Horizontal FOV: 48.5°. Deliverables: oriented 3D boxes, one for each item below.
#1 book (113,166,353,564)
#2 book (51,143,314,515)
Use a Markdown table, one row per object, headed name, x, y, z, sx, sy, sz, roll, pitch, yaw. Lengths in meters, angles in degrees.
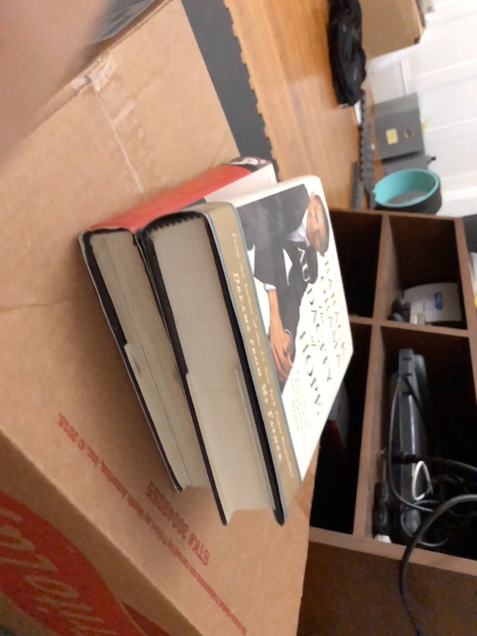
| name | x | y | z | sx | sy | sz | roll | pitch | yaw |
| --- | --- | --- | --- | --- | --- | --- | --- | --- | --- |
| book | 0.025 | 0.001 | 0.368 | 0.251 | 0.040 | 0.190 | -42 | 121 | -63 |
| book | -0.008 | -0.018 | 0.376 | 0.251 | 0.040 | 0.170 | -52 | 130 | -59 |
